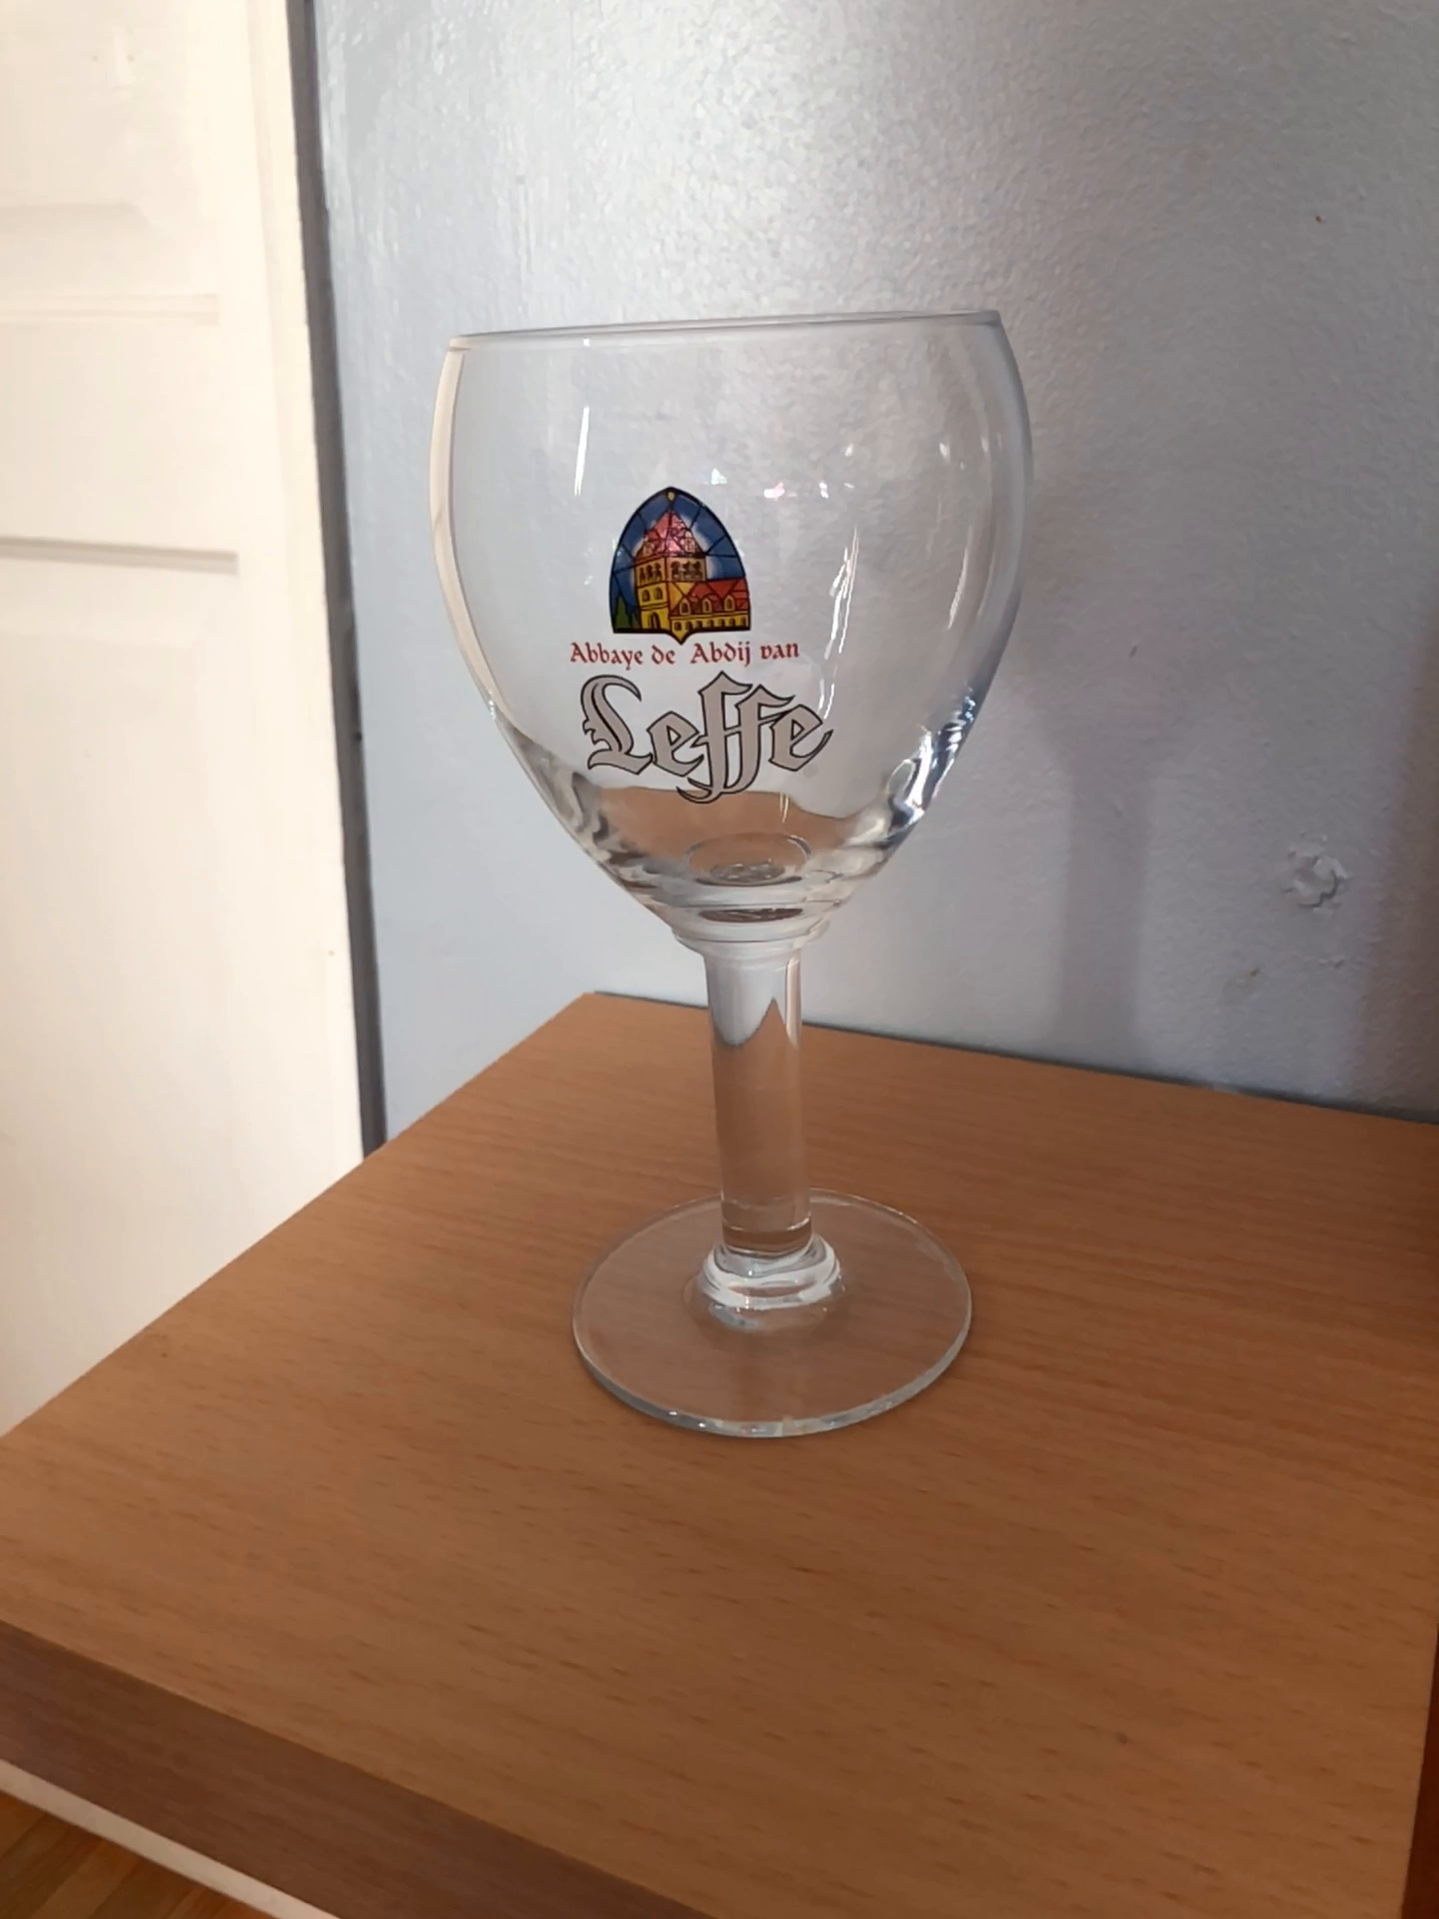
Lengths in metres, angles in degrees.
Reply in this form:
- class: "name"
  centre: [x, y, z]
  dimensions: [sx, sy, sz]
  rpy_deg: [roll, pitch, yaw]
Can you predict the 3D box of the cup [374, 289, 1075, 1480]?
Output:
- class: "cup"
  centre: [0.008, -0.021, 0.294]
  dimensions: [0.095, 0.185, 0.101]
  rpy_deg: [1, 19, 0]
